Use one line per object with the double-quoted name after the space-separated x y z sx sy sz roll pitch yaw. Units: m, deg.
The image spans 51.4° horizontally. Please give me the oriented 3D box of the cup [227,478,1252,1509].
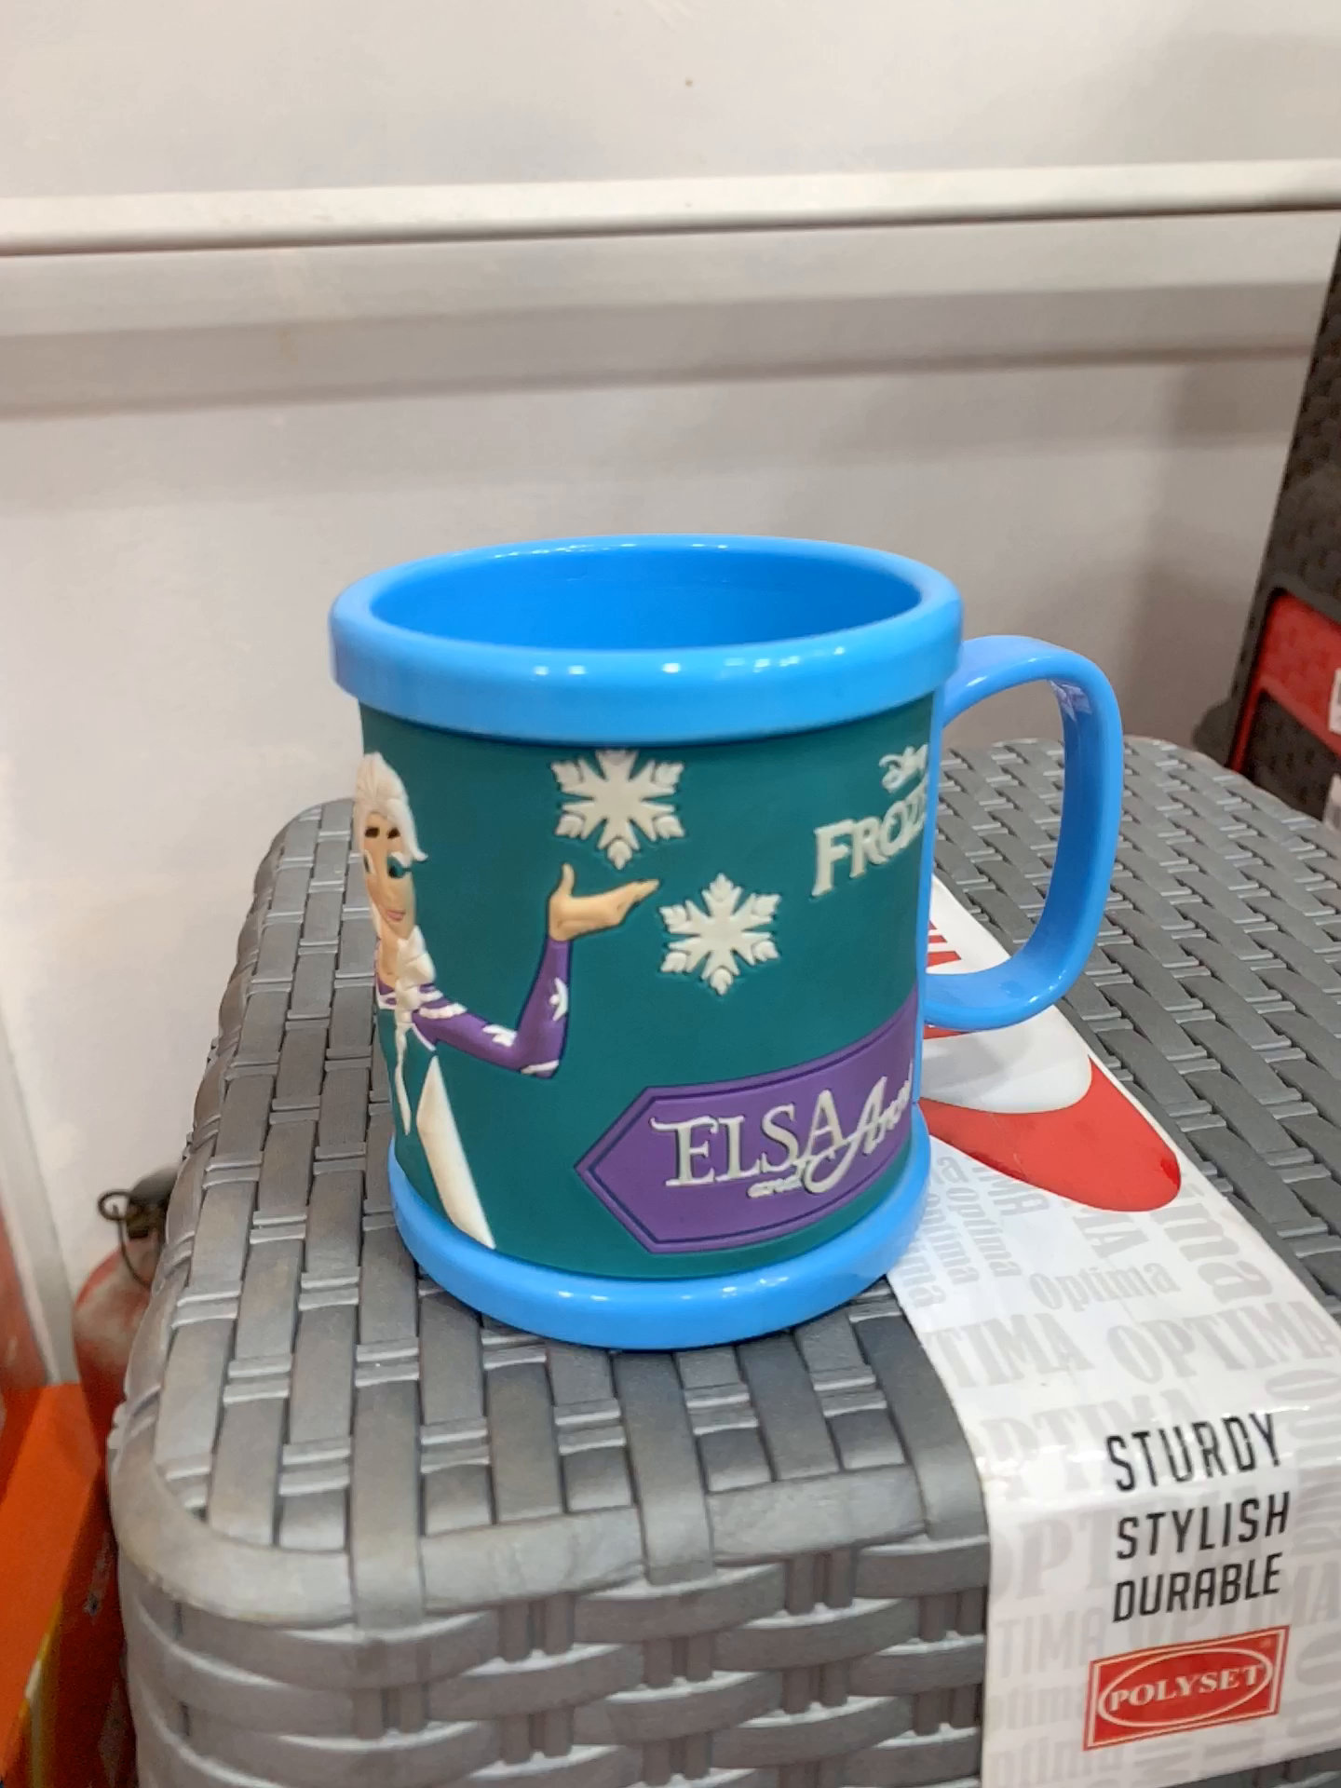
0.008 0.001 0.198 0.106 0.099 0.078 -15 27 -28 "cup"
